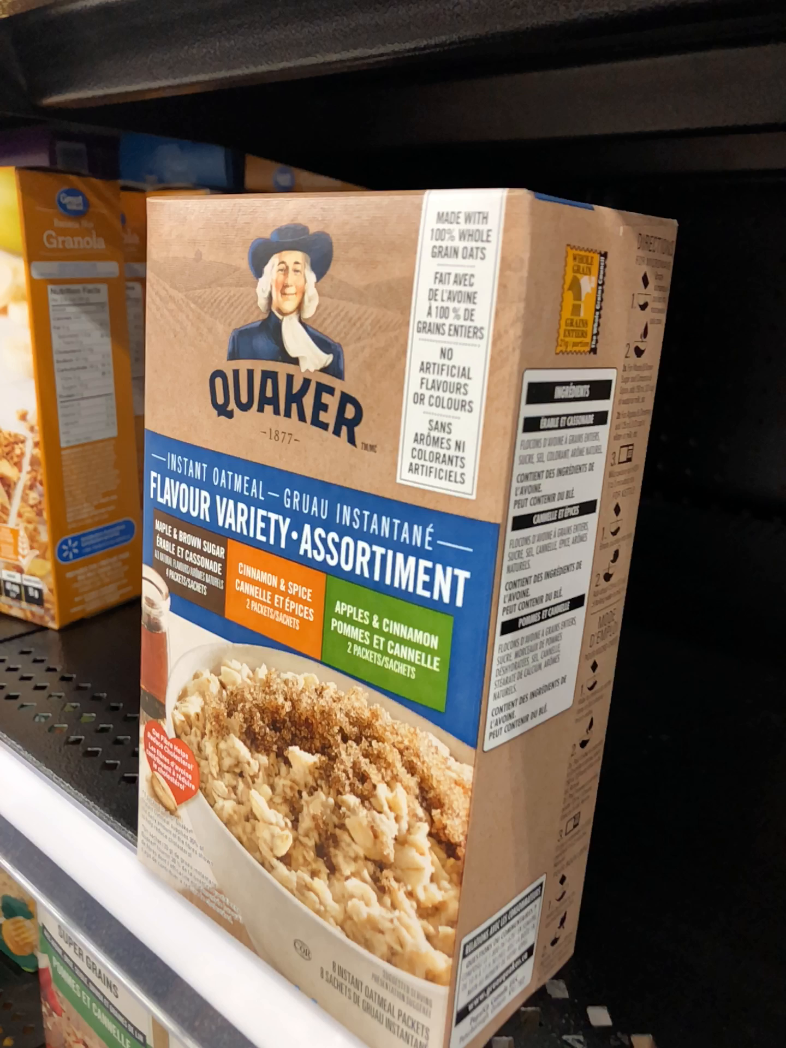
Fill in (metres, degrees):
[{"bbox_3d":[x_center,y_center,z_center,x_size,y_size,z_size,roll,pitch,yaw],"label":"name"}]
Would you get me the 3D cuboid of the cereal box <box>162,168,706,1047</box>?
[{"bbox_3d":[-0.001,0.021,0.240,0.120,0.209,0.060,15,17,38],"label":"cereal box"}]
